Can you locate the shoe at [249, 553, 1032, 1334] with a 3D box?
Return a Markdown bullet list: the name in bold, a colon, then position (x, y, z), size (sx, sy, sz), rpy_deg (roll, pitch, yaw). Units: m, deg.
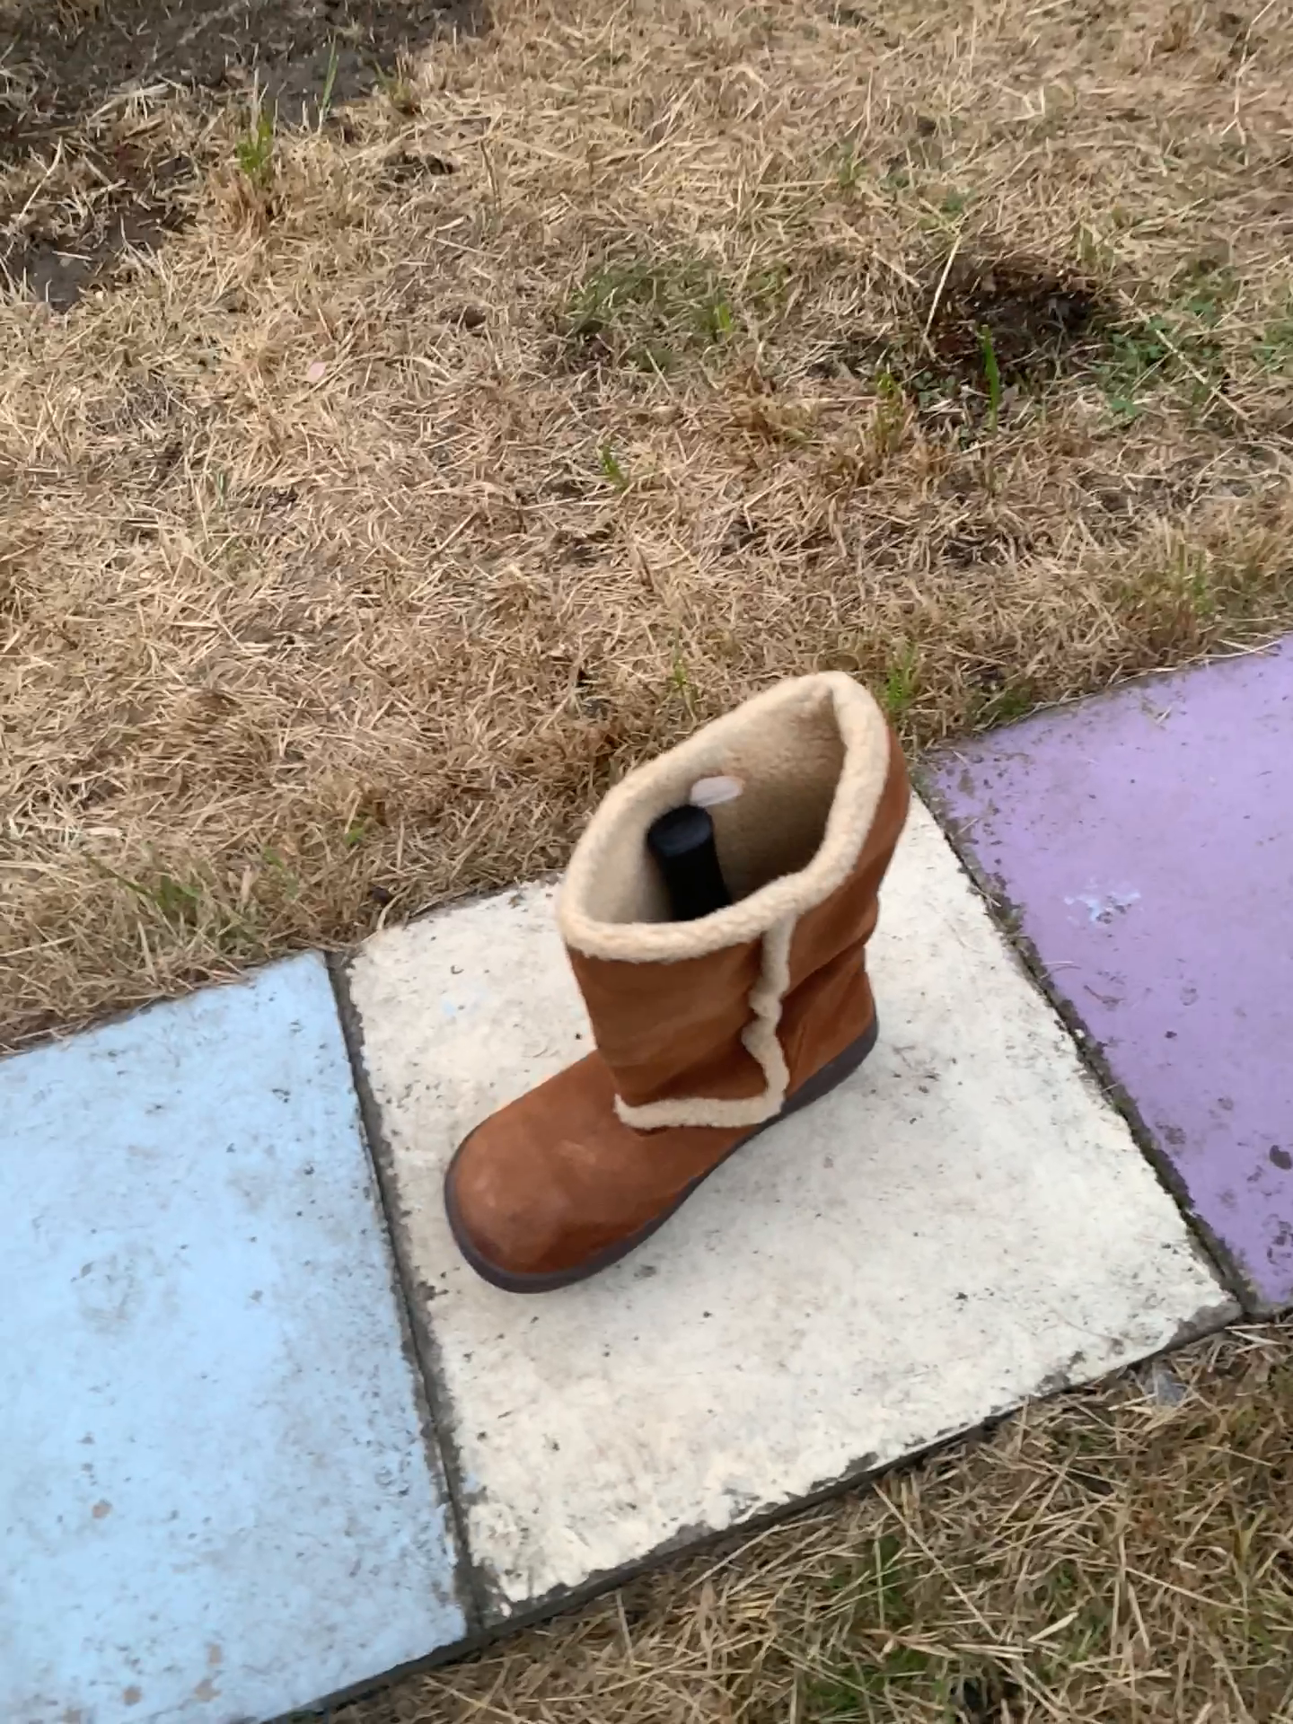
- **shoe**: position (0.008, 0.055, 0.592), size (0.260, 0.297, 0.111), rpy_deg (-27, 57, -14)
